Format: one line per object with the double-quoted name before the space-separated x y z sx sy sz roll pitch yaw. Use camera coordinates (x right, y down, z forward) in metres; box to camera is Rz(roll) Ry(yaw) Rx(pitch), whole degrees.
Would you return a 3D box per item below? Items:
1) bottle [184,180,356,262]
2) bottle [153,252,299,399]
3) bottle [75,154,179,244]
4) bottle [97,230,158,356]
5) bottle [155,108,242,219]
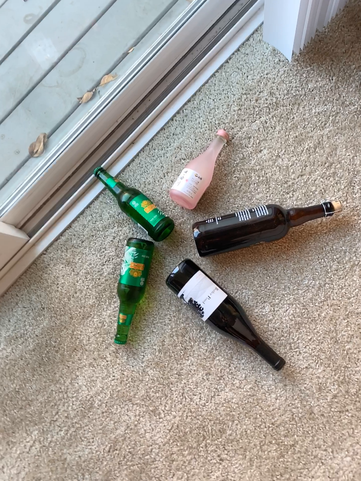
"bottle" 0.171 -0.032 0.741 0.310 0.090 0.070 -15 79 9
"bottle" 0.085 0.155 0.718 0.300 0.090 0.070 44 92 14
"bottle" -0.116 -0.090 0.816 0.230 0.080 0.060 38 90 14
"bottle" -0.106 0.106 0.767 0.060 0.090 0.240 7 83 12
"bottle" 0.043 -0.156 0.770 0.070 0.090 0.200 34 89 14
